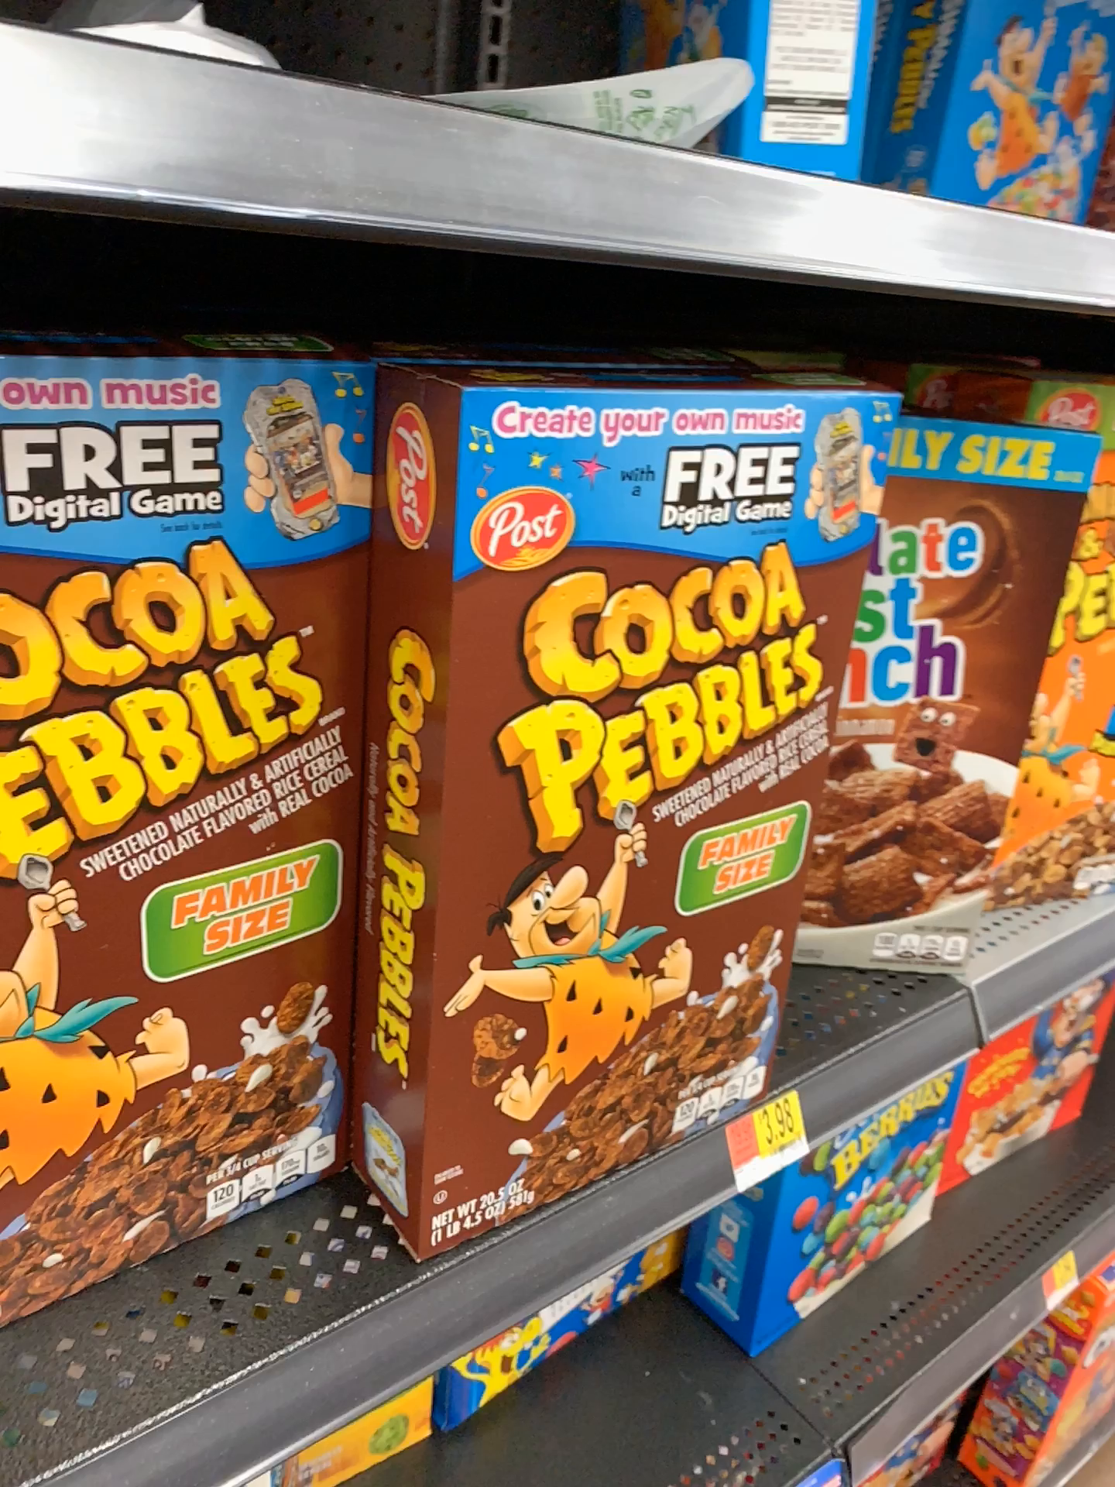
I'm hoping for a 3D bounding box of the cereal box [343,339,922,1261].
[{"bbox_3d":[0.023,0.020,0.458,0.200,0.328,0.060,-11,27,-35],"label":"cereal box"}]
